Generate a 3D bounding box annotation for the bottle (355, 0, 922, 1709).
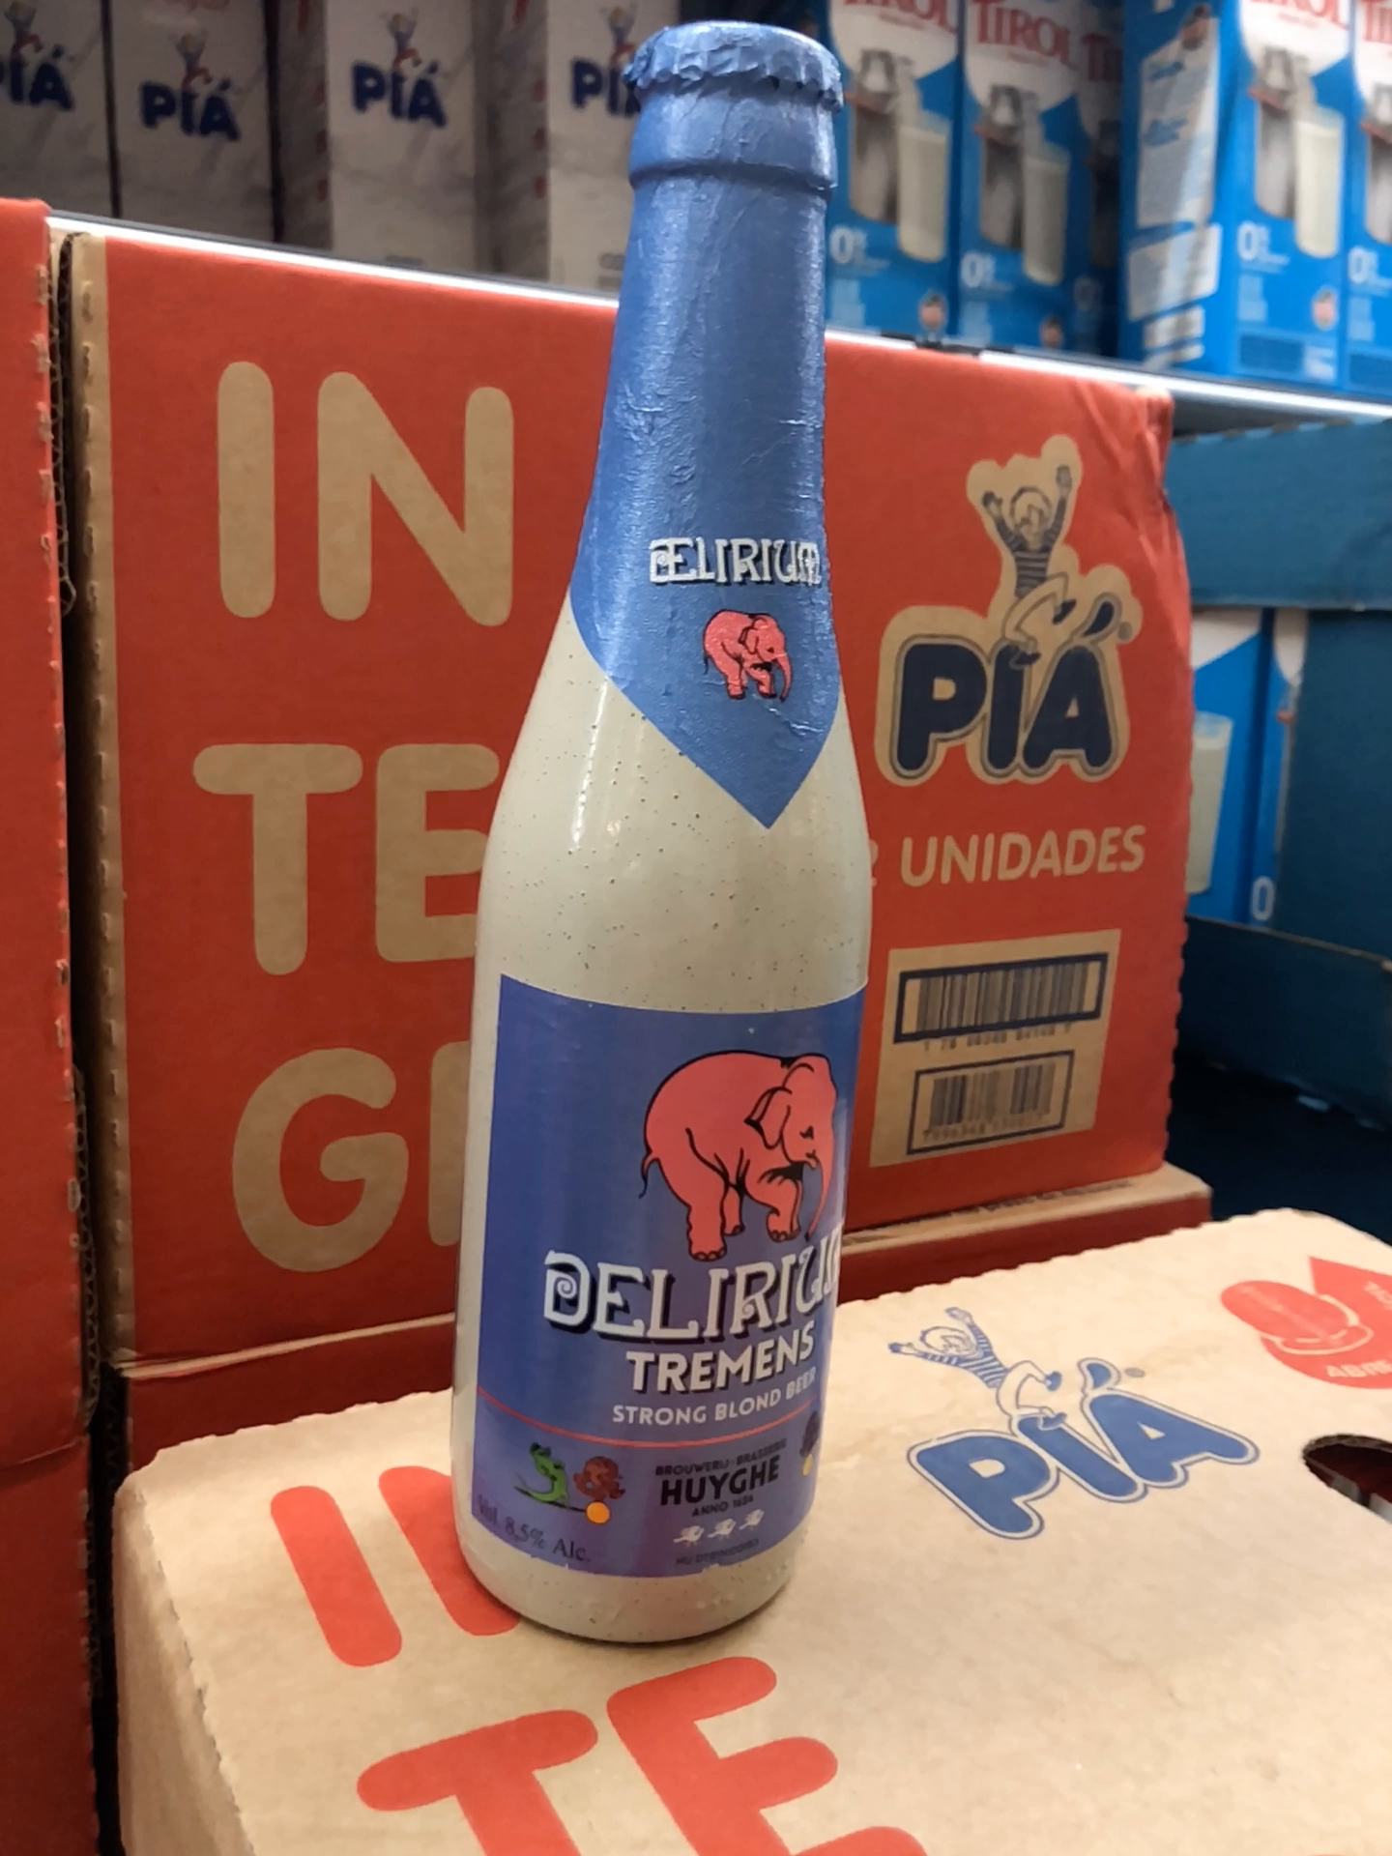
[{"bbox_3d":[-0.013,-0.009,0.232,0.060,0.219,0.060,1,9,0],"label":"bottle"}]
